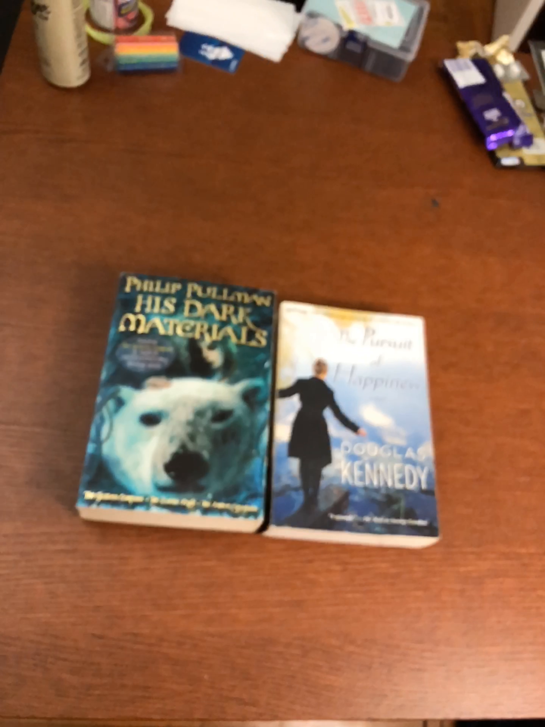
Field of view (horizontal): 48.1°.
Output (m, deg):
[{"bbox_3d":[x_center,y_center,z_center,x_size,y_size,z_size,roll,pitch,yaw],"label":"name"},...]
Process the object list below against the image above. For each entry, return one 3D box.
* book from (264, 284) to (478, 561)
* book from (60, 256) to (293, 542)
[{"bbox_3d":[0.090,0.051,0.587,0.180,0.040,0.251,7,63,-8],"label":"book"},{"bbox_3d":[-0.077,0.028,0.572,0.180,0.050,0.251,7,63,-8],"label":"book"}]
